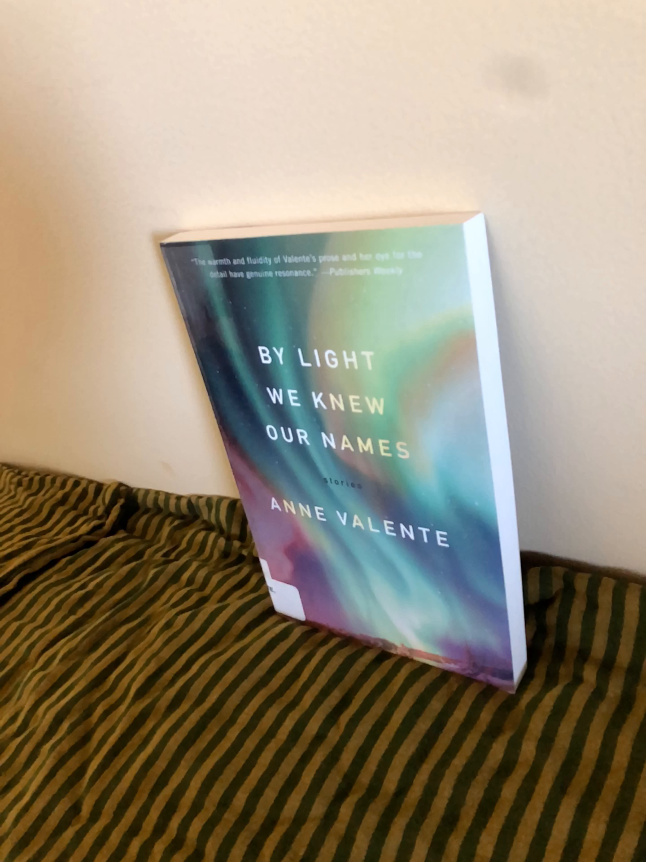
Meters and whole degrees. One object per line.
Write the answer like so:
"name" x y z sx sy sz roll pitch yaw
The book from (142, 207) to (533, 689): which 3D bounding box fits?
"book" 0.014 0.017 0.323 0.142 0.223 0.020 7 37 31
